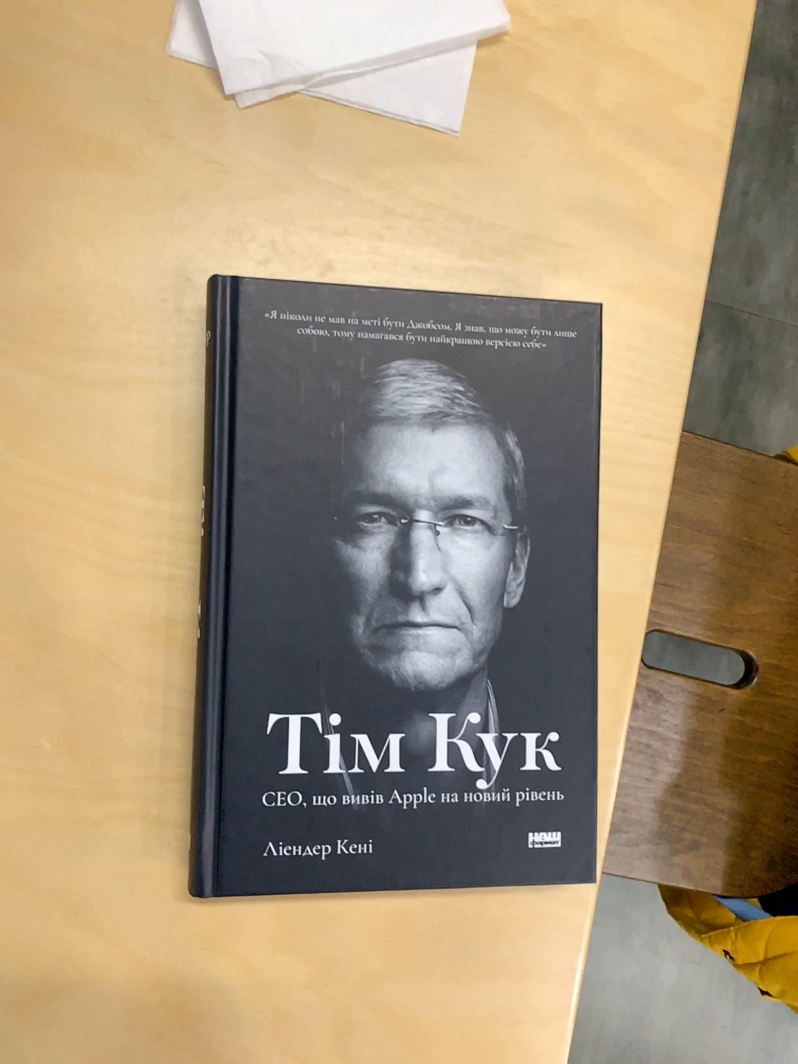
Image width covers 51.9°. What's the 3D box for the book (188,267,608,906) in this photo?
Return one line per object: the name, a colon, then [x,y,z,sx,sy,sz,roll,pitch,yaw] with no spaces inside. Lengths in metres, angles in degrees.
book: [0.002,0.019,0.306,0.144,0.034,0.217,2,86,-8]
